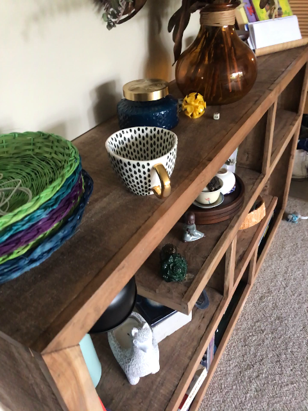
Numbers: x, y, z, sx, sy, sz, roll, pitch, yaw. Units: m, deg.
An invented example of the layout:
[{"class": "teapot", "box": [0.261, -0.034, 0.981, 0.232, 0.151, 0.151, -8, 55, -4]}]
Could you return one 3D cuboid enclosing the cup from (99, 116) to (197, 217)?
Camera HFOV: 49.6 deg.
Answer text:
[{"class": "cup", "box": [-0.012, -0.065, 0.500, 0.100, 0.079, 0.131, -16, 37, -16]}]
